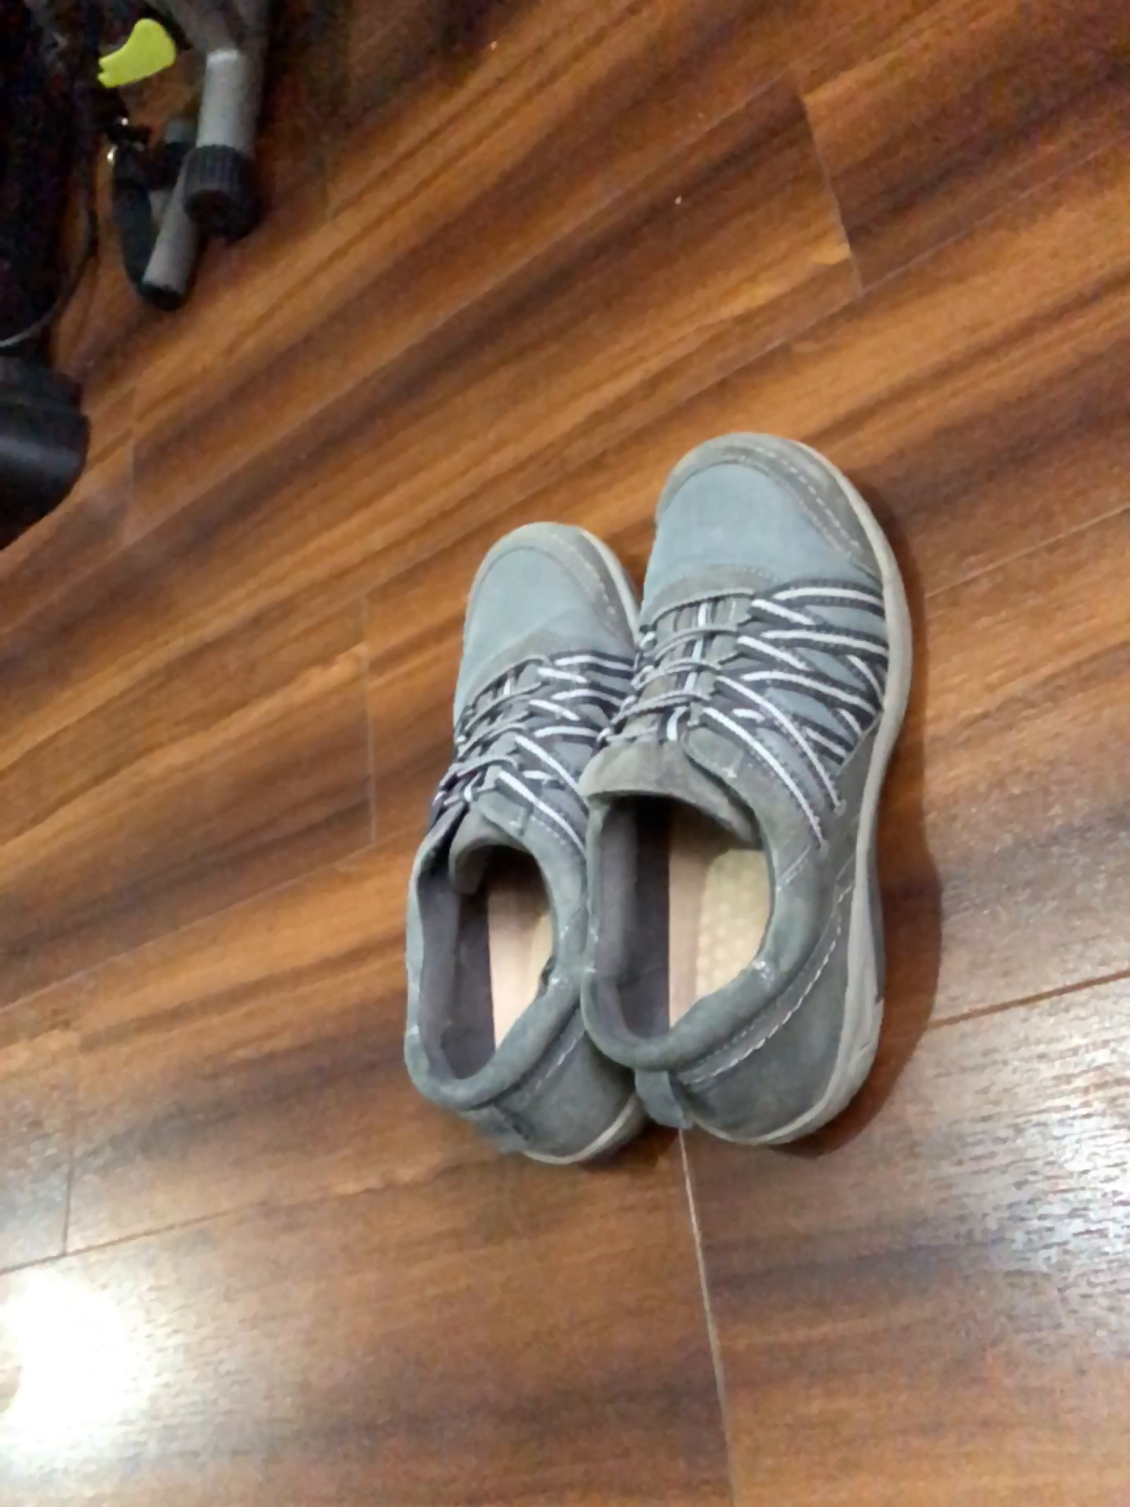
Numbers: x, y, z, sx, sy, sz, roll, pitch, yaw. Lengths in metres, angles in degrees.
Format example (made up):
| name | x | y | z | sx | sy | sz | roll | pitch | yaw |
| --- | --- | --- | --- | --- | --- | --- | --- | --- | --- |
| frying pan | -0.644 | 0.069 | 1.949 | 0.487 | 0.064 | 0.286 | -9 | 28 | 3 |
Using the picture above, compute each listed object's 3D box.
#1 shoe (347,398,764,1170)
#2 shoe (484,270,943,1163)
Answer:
| name | x | y | z | sx | sy | sz | roll | pitch | yaw |
| --- | --- | --- | --- | --- | --- | --- | --- | --- | --- |
| shoe | -0.012 | 0.013 | 0.513 | 0.100 | 0.109 | 0.281 | -24 | 58 | 31 |
| shoe | 0.055 | -0.007 | 0.442 | 0.100 | 0.109 | 0.281 | -13 | 64 | 36 |
